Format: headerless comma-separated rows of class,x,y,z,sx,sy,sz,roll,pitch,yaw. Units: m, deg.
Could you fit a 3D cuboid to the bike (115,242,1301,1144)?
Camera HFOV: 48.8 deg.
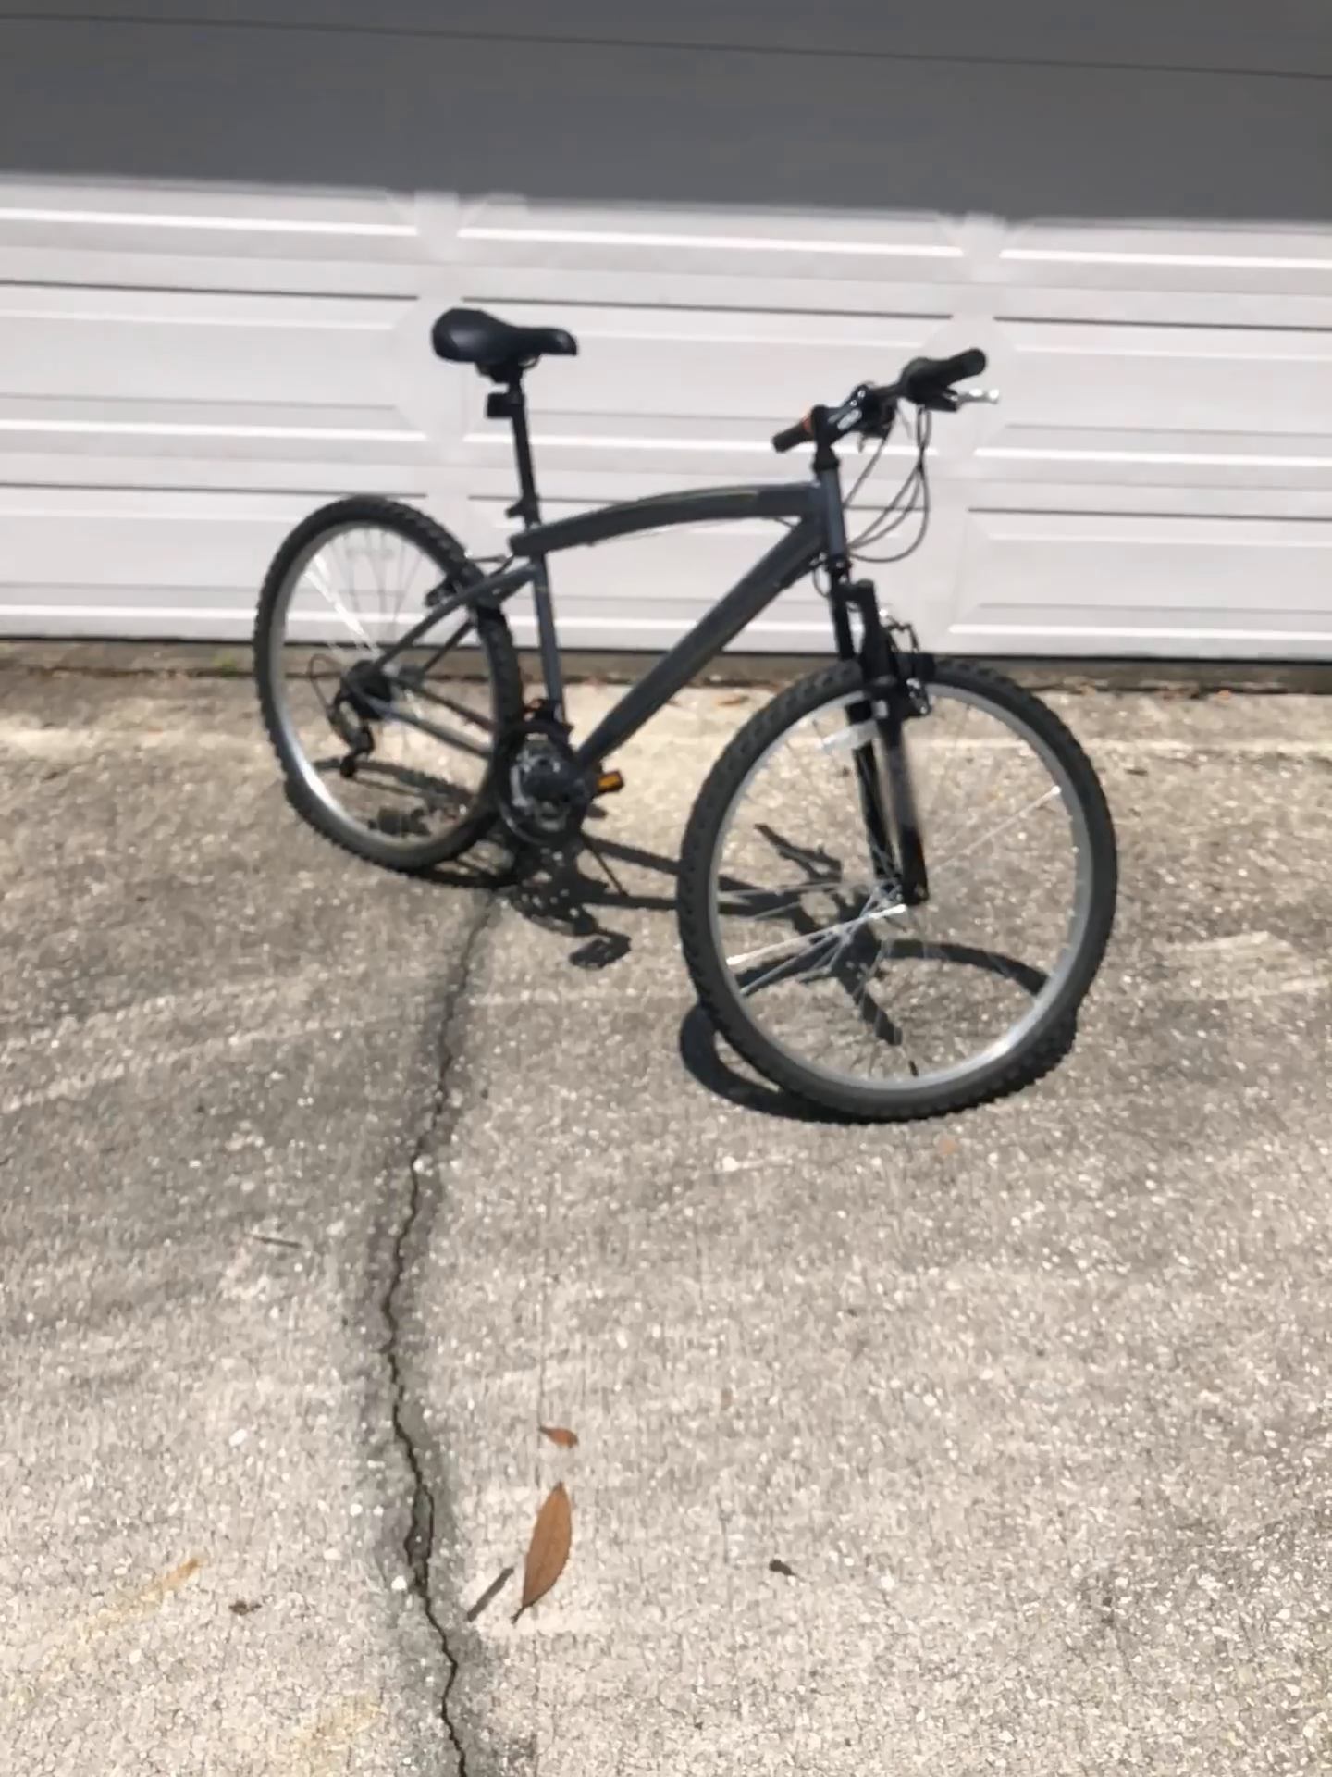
bike,0.034,-0.411,2.452,1.531,0.980,0.682,19,32,23
